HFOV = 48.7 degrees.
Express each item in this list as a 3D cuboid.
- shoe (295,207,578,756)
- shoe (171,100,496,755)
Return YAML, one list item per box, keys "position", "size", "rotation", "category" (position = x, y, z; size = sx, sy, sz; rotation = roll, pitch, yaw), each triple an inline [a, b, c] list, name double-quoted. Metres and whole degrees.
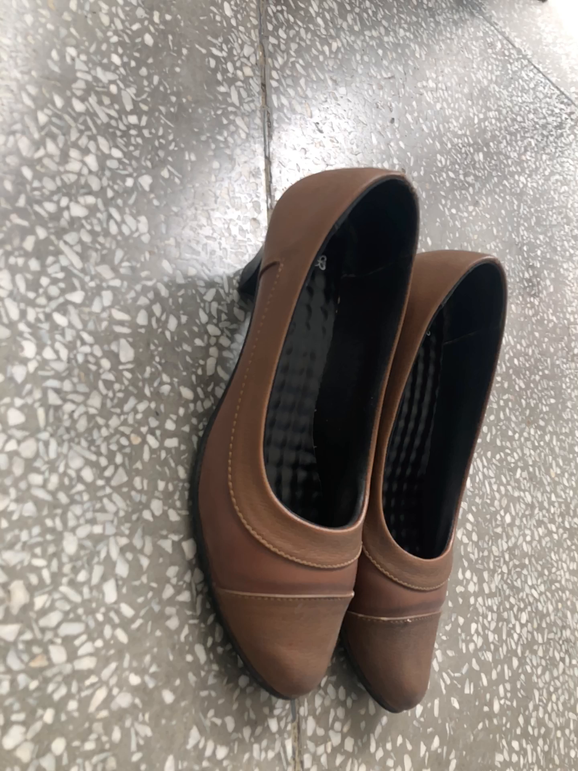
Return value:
- position: [0.076, 0.046, 0.344]
  size: [0.093, 0.096, 0.241]
  rotation: [12, 68, -41]
  category: "shoe"
- position: [0.013, 0.016, 0.295]
  size: [0.090, 0.096, 0.244]
  rotation: [13, 67, -41]
  category: "shoe"
